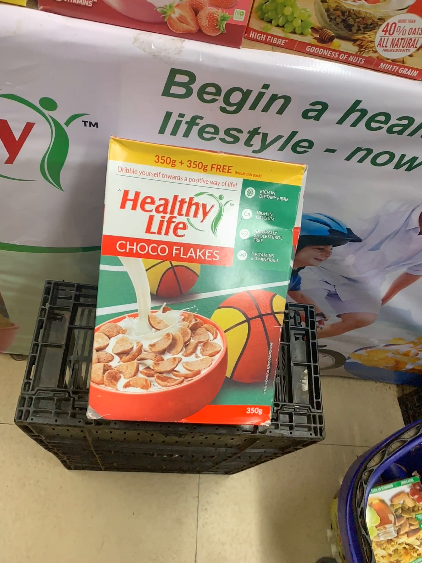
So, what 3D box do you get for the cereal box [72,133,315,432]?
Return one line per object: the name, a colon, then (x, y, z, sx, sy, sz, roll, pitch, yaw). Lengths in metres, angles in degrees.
cereal box: (-0.025, 0.006, 0.465, 0.210, 0.090, 0.280, 5, 100, -9)
